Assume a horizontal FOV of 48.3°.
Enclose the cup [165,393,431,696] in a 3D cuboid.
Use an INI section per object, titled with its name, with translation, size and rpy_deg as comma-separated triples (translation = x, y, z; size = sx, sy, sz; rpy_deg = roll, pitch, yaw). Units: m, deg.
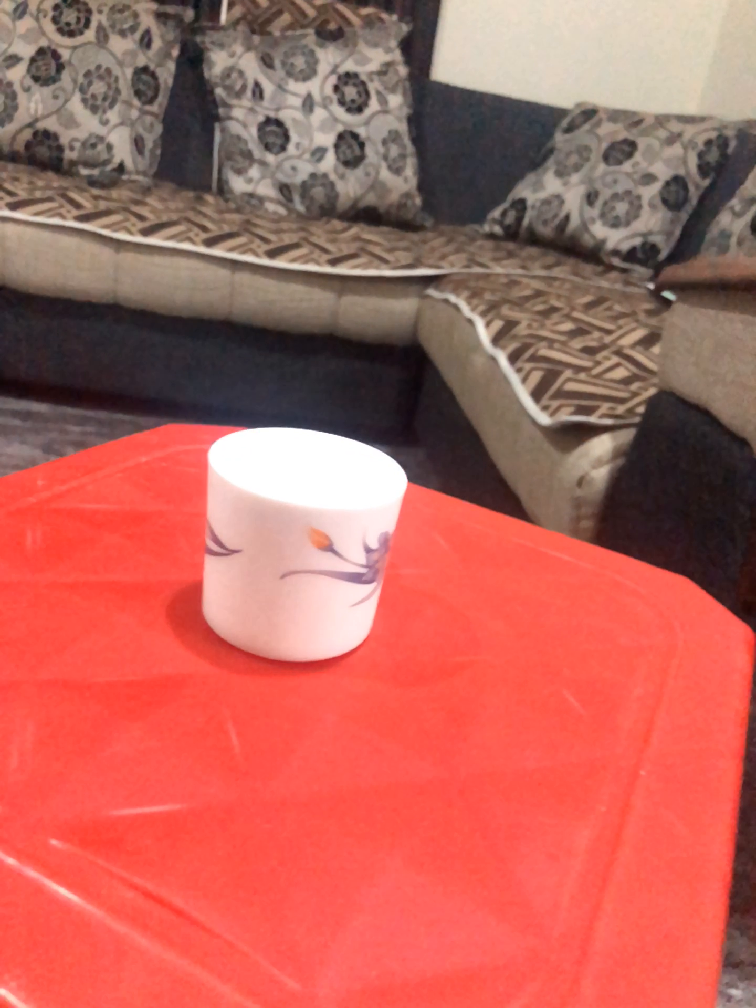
[cup]
translation = -0.026, 0.009, 0.289
size = 0.070, 0.060, 0.090
rpy_deg = 9, 23, -5
